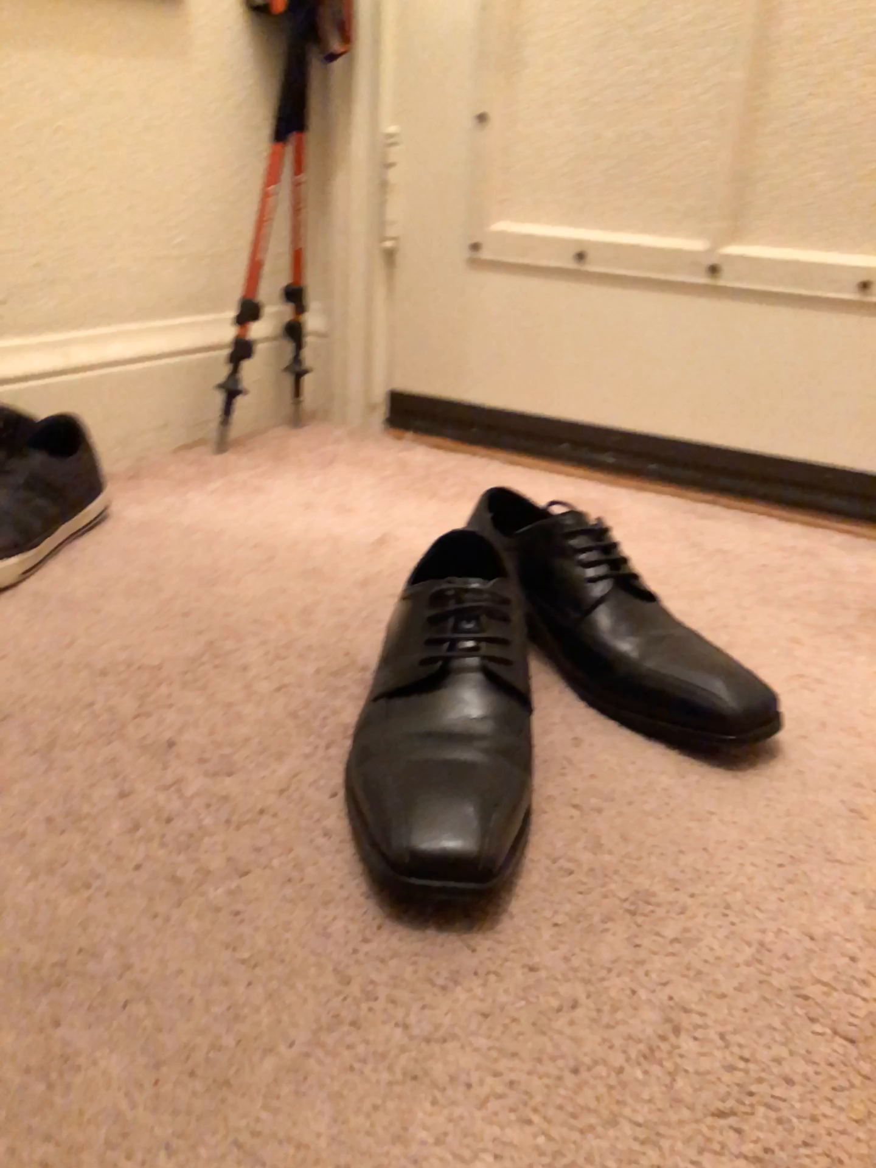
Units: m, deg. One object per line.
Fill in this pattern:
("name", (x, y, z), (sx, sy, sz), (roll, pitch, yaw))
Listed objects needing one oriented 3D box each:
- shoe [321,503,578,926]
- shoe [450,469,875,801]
("shoe", (0.009, 0.053, 0.567), (0.110, 0.107, 0.284), (4, 23, 1))
("shoe", (0.140, 0.016, 0.701), (0.115, 0.110, 0.298), (-11, 27, -30))
